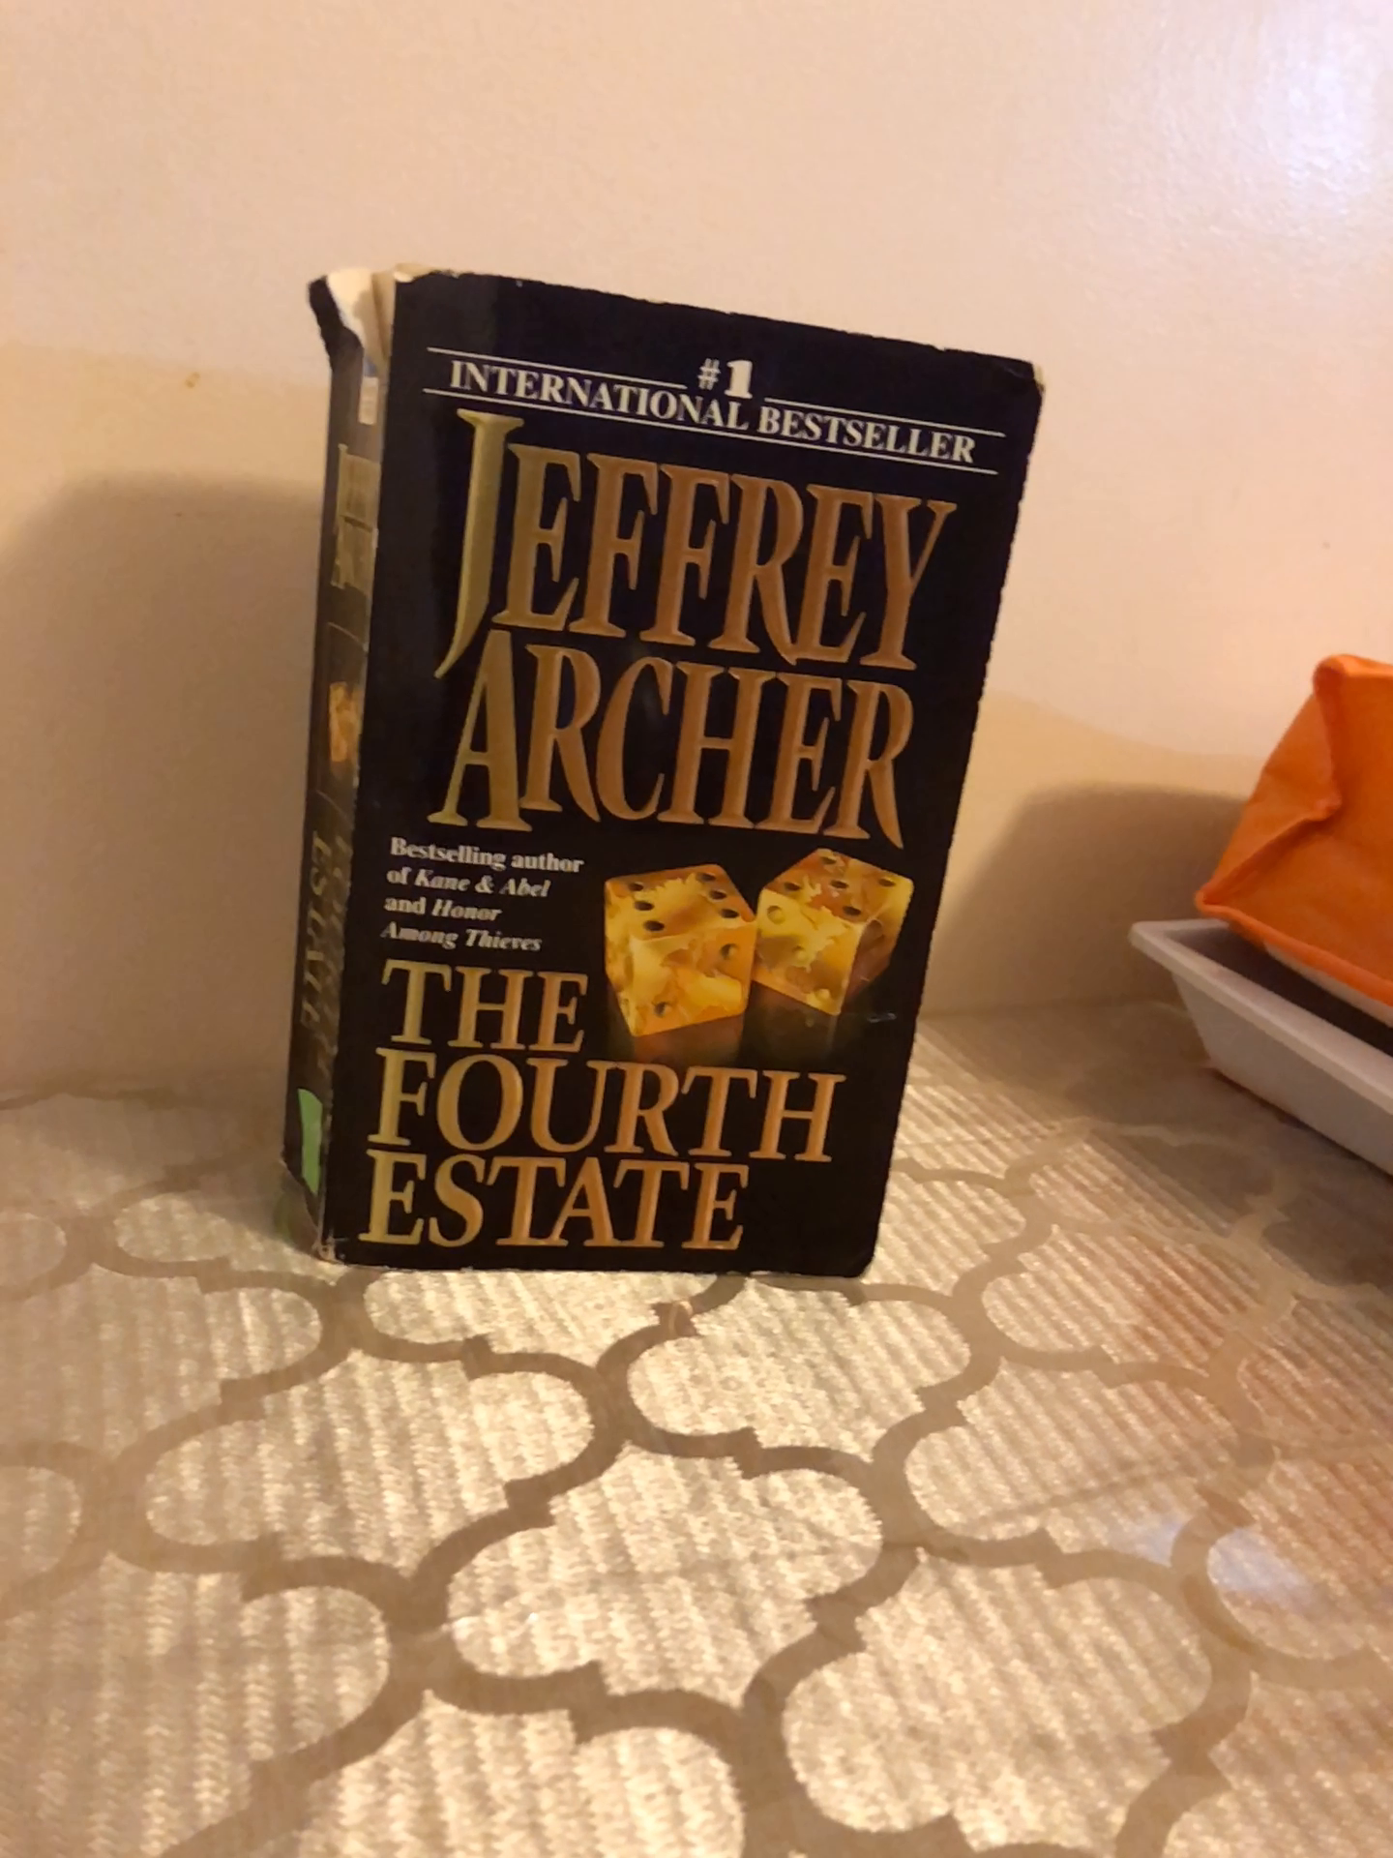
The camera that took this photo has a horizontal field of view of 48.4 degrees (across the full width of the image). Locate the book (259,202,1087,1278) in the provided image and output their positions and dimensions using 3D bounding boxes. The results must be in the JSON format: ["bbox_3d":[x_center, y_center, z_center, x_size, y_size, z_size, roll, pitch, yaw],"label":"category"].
[{"bbox_3d":[-0.012,-0.028,0.284,0.120,0.169,0.060,4,16,-12],"label":"book"}]
